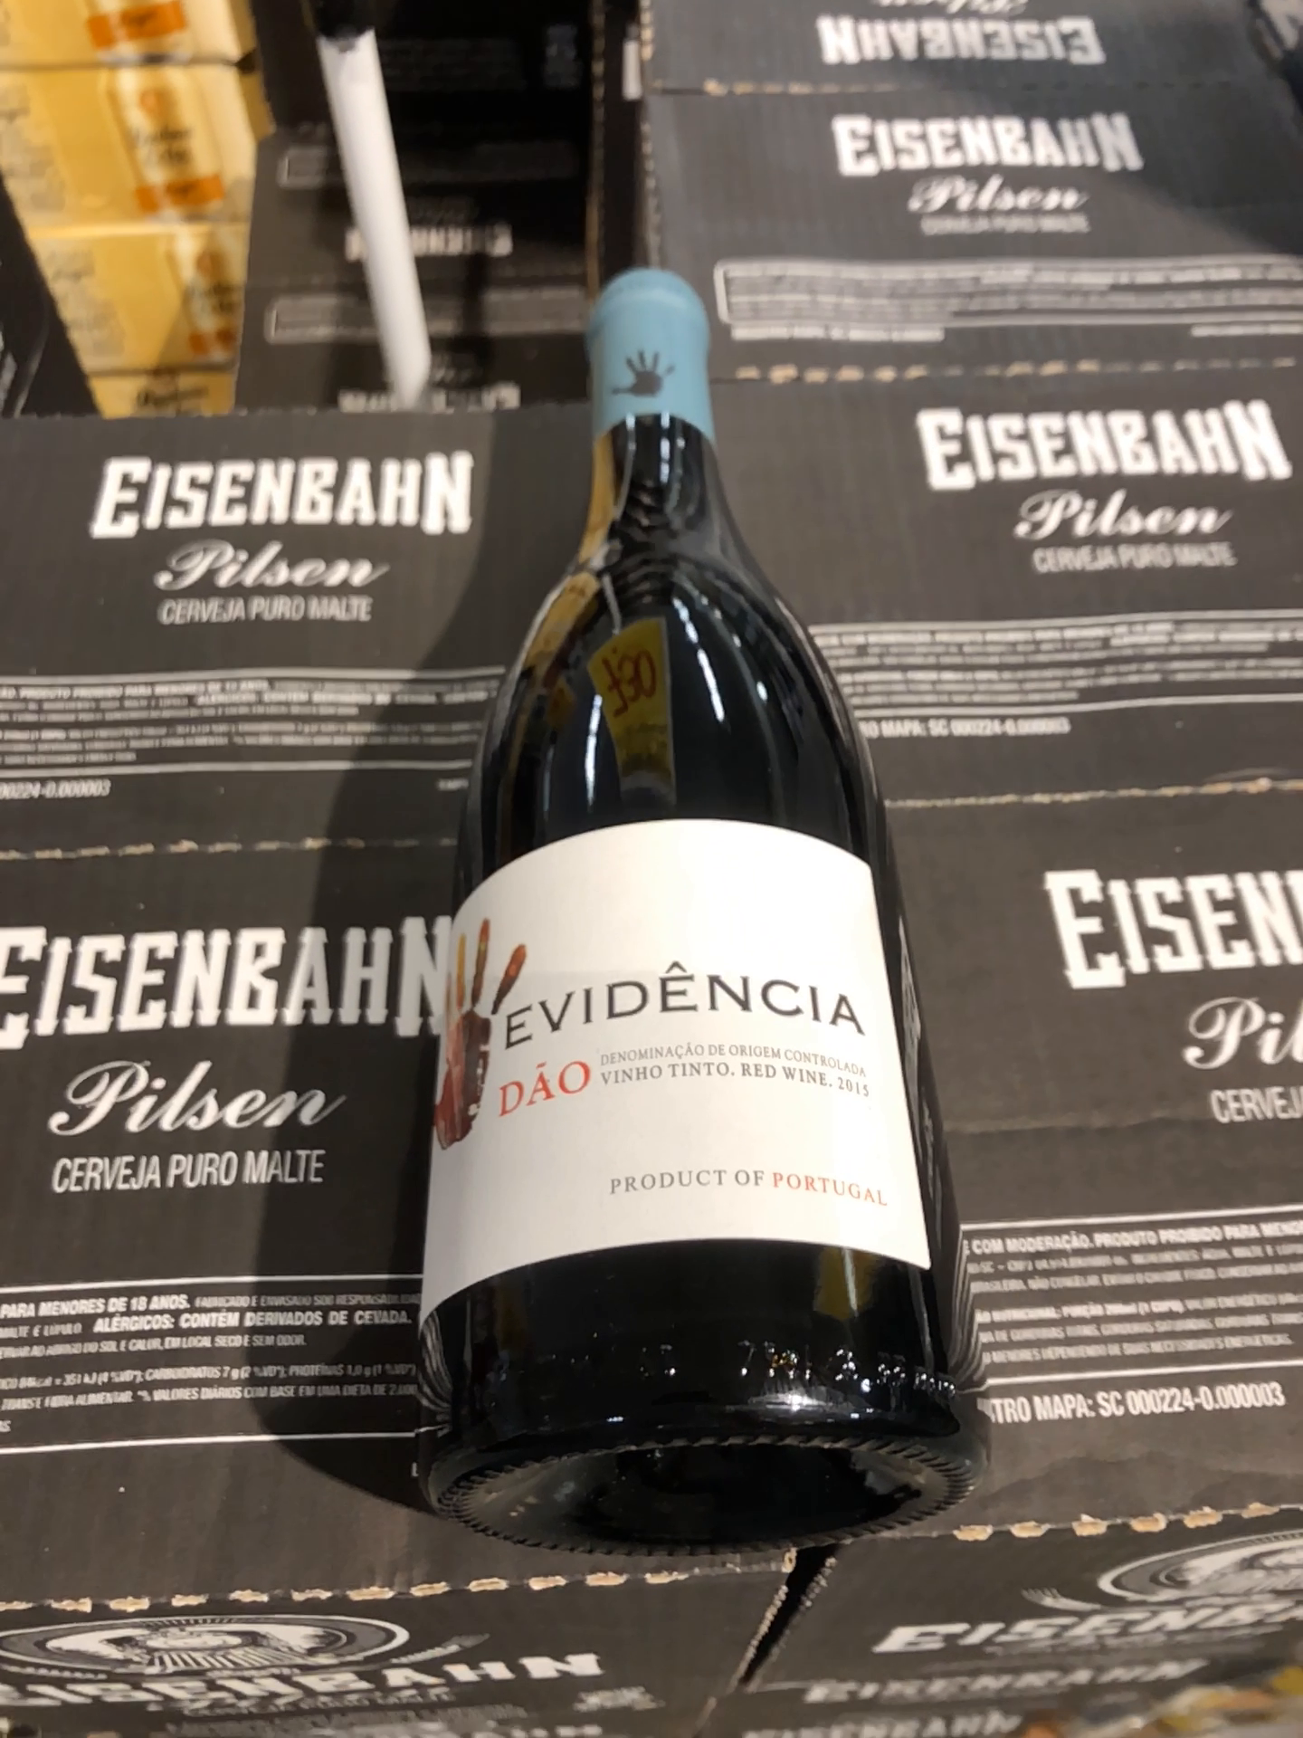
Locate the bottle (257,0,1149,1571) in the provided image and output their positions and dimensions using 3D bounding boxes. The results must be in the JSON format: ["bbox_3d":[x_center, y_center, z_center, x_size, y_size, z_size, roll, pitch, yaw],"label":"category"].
[{"bbox_3d":[0.000,-0.051,0.291,0.100,0.090,0.332,-2,58,-1],"label":"bottle"}]
